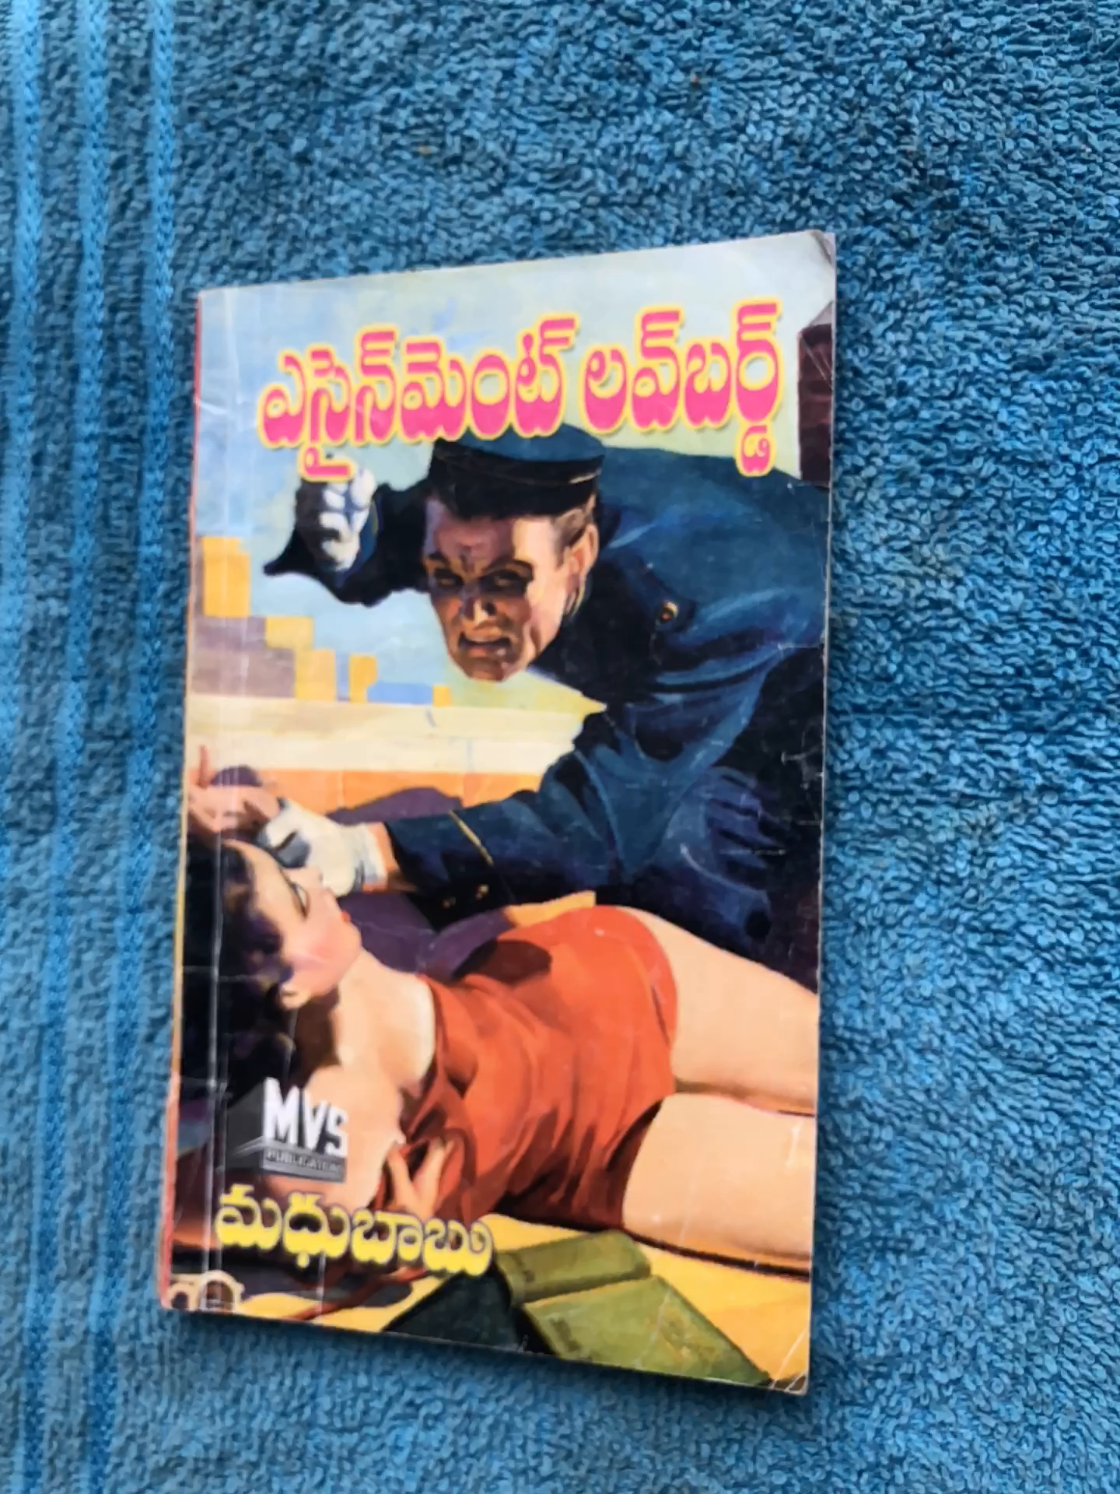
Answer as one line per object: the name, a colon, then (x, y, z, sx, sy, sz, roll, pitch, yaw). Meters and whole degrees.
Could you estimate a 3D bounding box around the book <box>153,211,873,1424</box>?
book: (-0.006, 0.007, 0.194, 0.100, 0.030, 0.160, 1, 88, 14)
